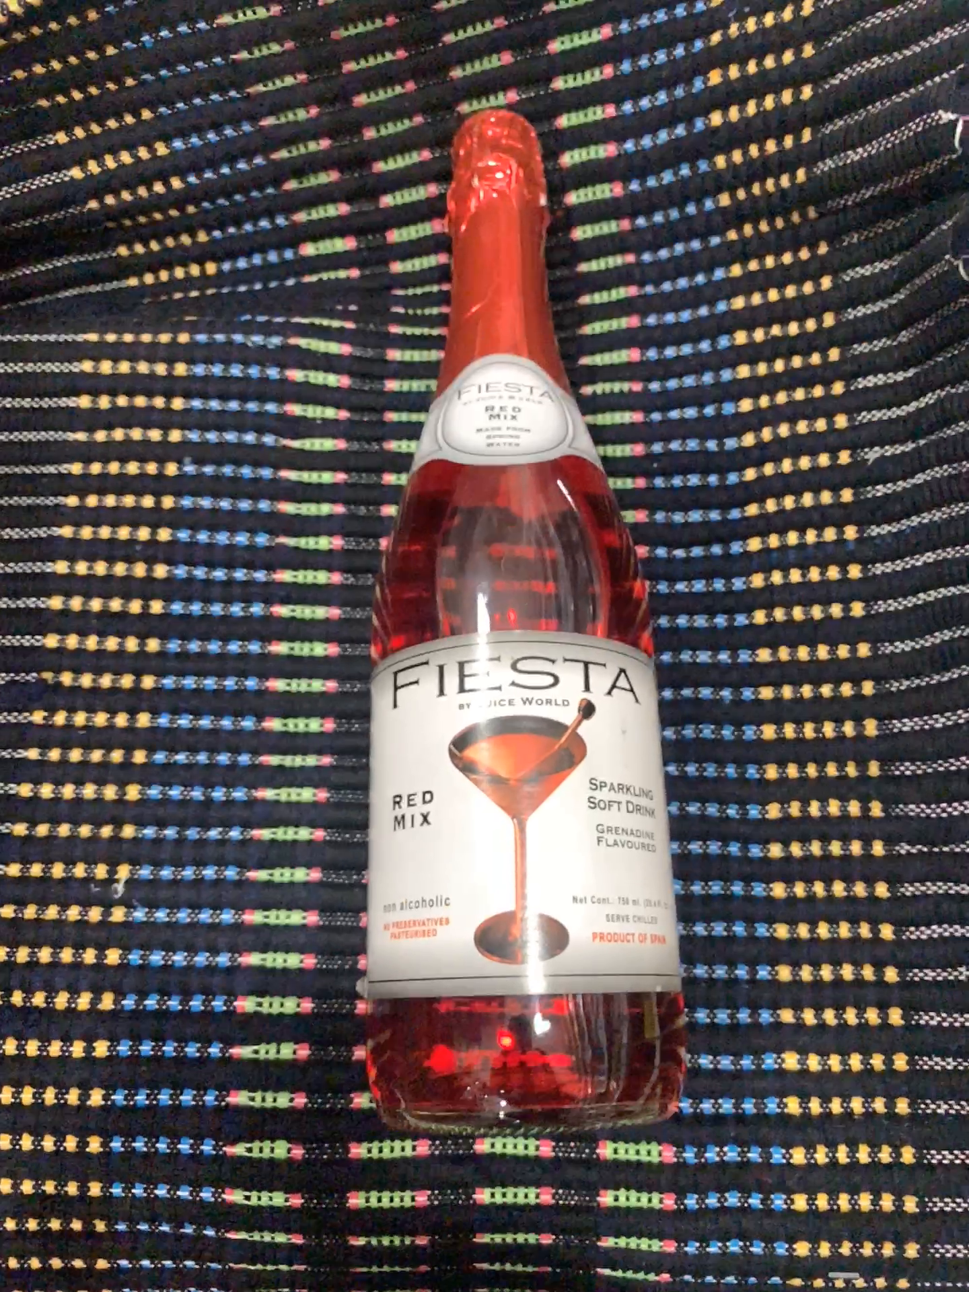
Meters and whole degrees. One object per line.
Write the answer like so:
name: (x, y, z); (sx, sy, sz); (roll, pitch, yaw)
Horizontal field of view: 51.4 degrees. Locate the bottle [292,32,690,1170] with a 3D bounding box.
bottle: (-0.004, -0.029, 0.289); (0.080, 0.070, 0.310); (-4, 69, 2)
